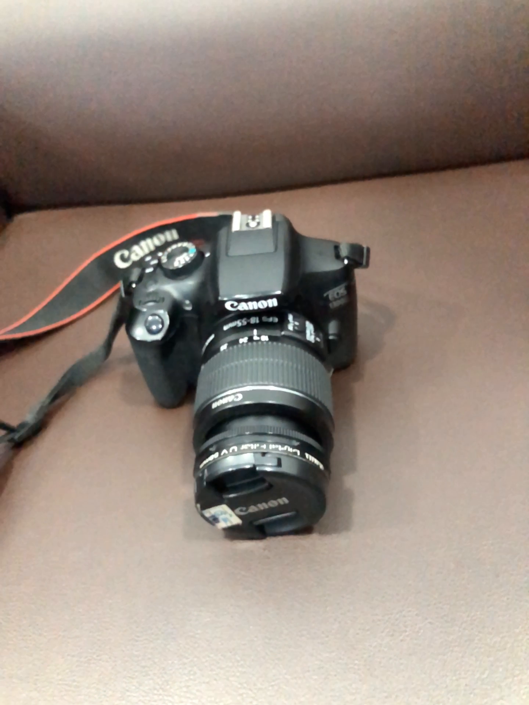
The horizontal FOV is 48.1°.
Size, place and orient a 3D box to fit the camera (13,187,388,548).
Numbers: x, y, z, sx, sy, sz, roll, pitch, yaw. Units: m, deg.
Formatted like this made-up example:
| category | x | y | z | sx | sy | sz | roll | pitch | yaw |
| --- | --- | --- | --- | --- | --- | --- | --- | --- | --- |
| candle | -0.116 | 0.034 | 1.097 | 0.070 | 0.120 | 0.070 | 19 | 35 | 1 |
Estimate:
| category | x | y | z | sx | sy | sz | roll | pitch | yaw |
| --- | --- | --- | --- | --- | --- | --- | --- | --- | --- |
| camera | -0.015 | 0.004 | 0.282 | 0.130 | 0.089 | 0.141 | -4 | 44 | 8 |
